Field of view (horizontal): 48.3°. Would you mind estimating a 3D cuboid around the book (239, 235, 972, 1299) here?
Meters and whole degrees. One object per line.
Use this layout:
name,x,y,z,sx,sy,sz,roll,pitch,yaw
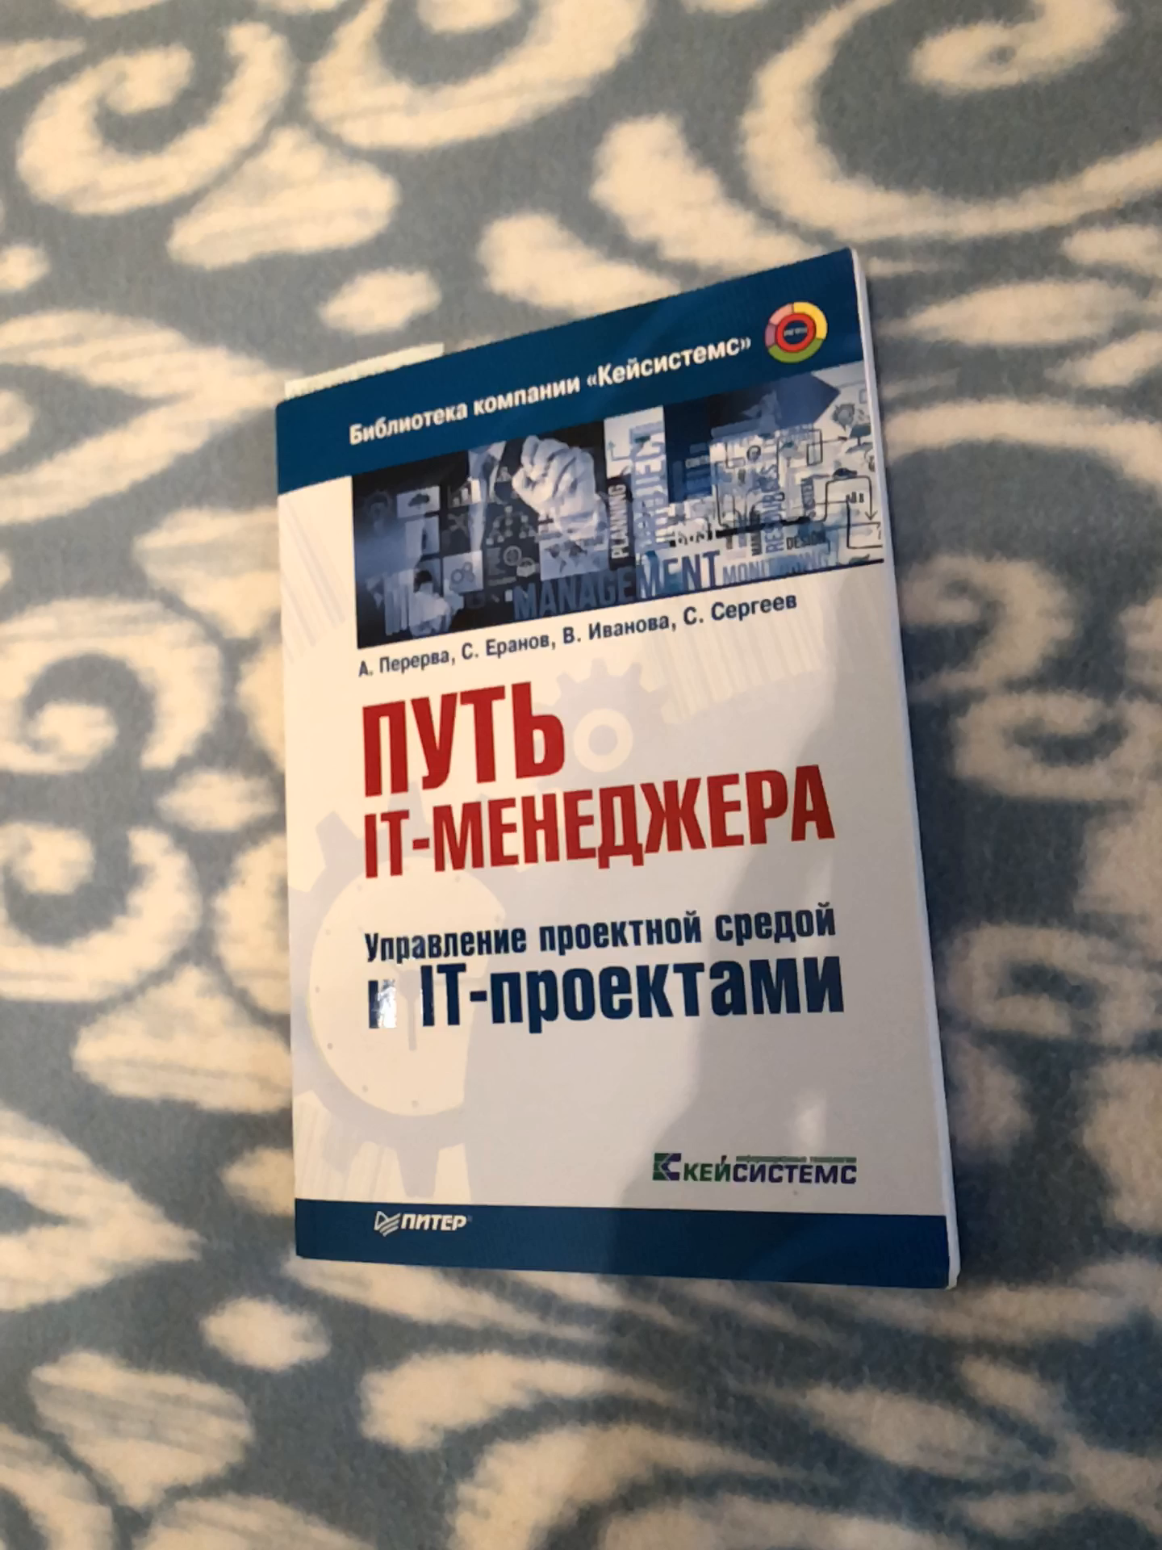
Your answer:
book,-0.006,0.002,0.317,0.173,0.019,0.228,-7,81,24
